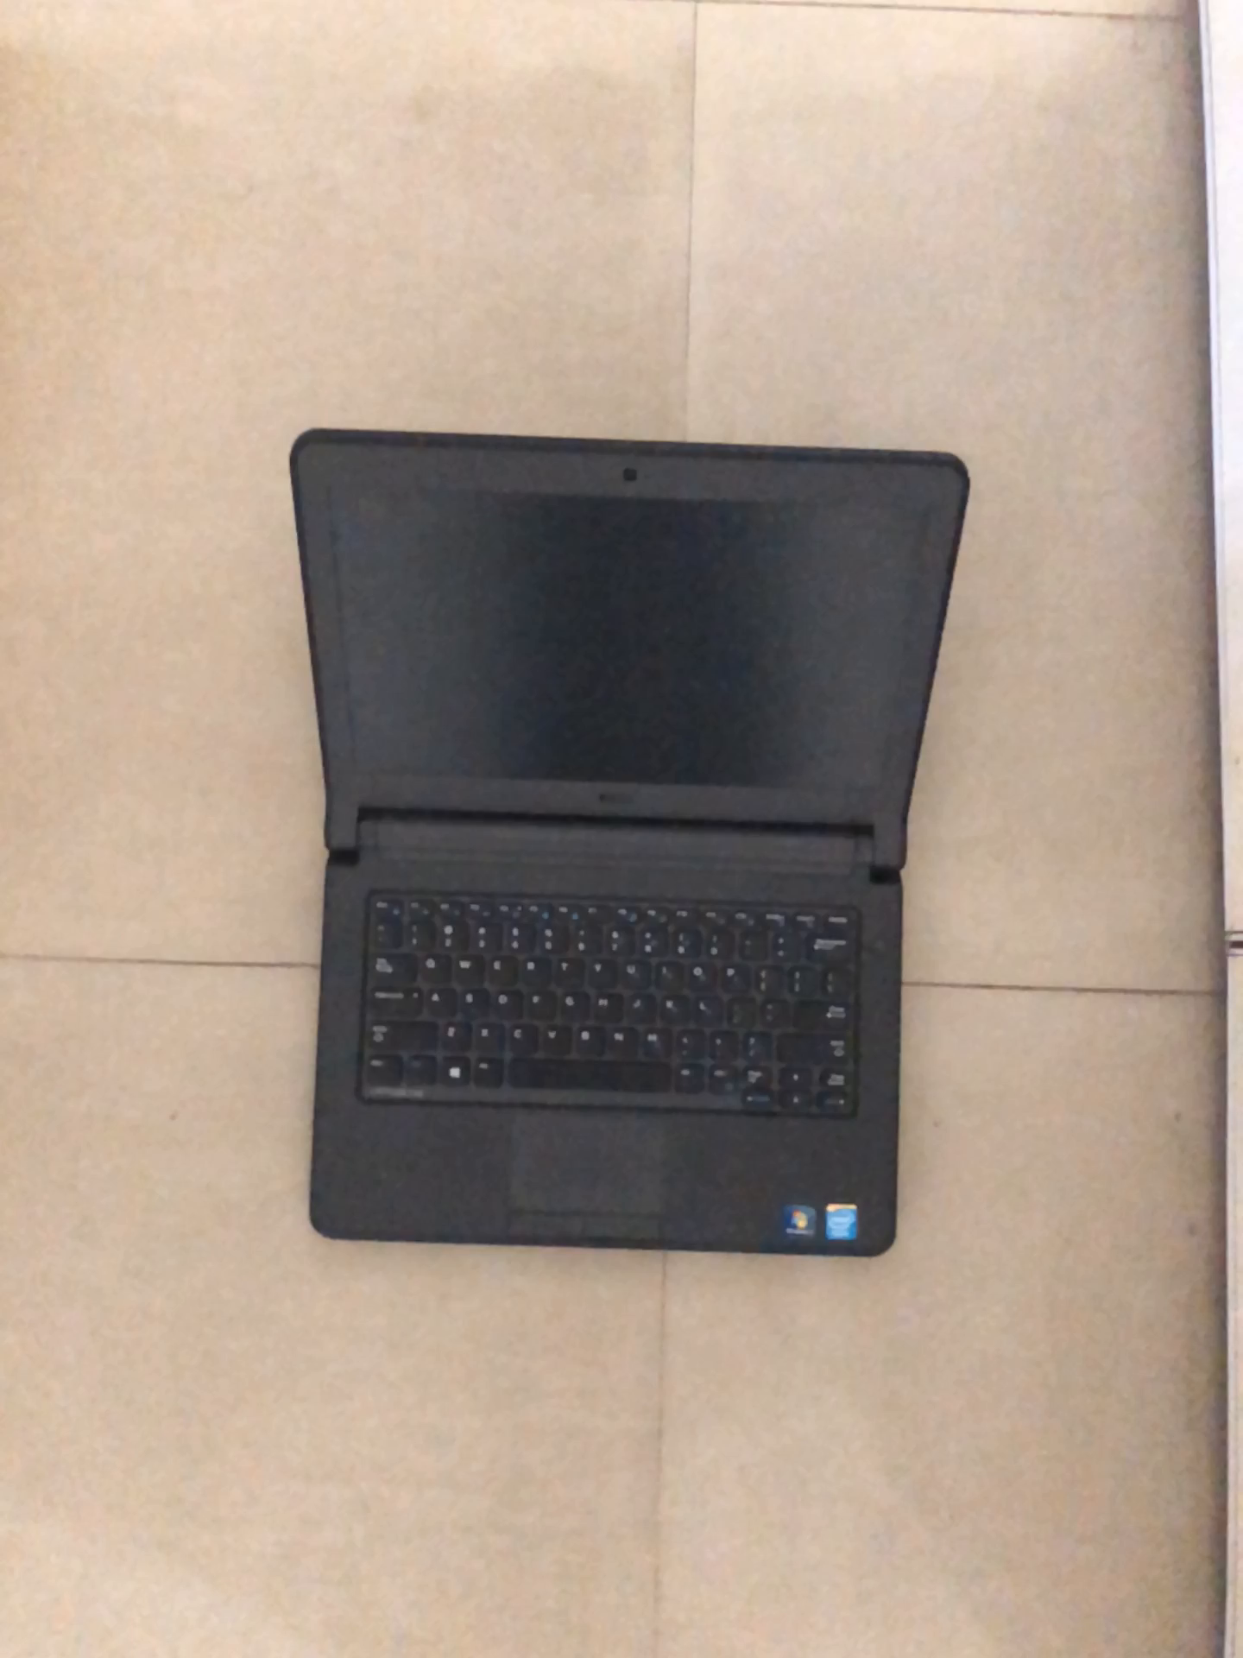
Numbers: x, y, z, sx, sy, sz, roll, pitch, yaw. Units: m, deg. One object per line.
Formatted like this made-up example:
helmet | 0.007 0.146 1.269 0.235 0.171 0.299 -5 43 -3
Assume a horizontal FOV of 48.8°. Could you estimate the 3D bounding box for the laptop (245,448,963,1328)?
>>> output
laptop | -0.004 0.029 0.703 0.312 0.154 0.392 2 85 0
